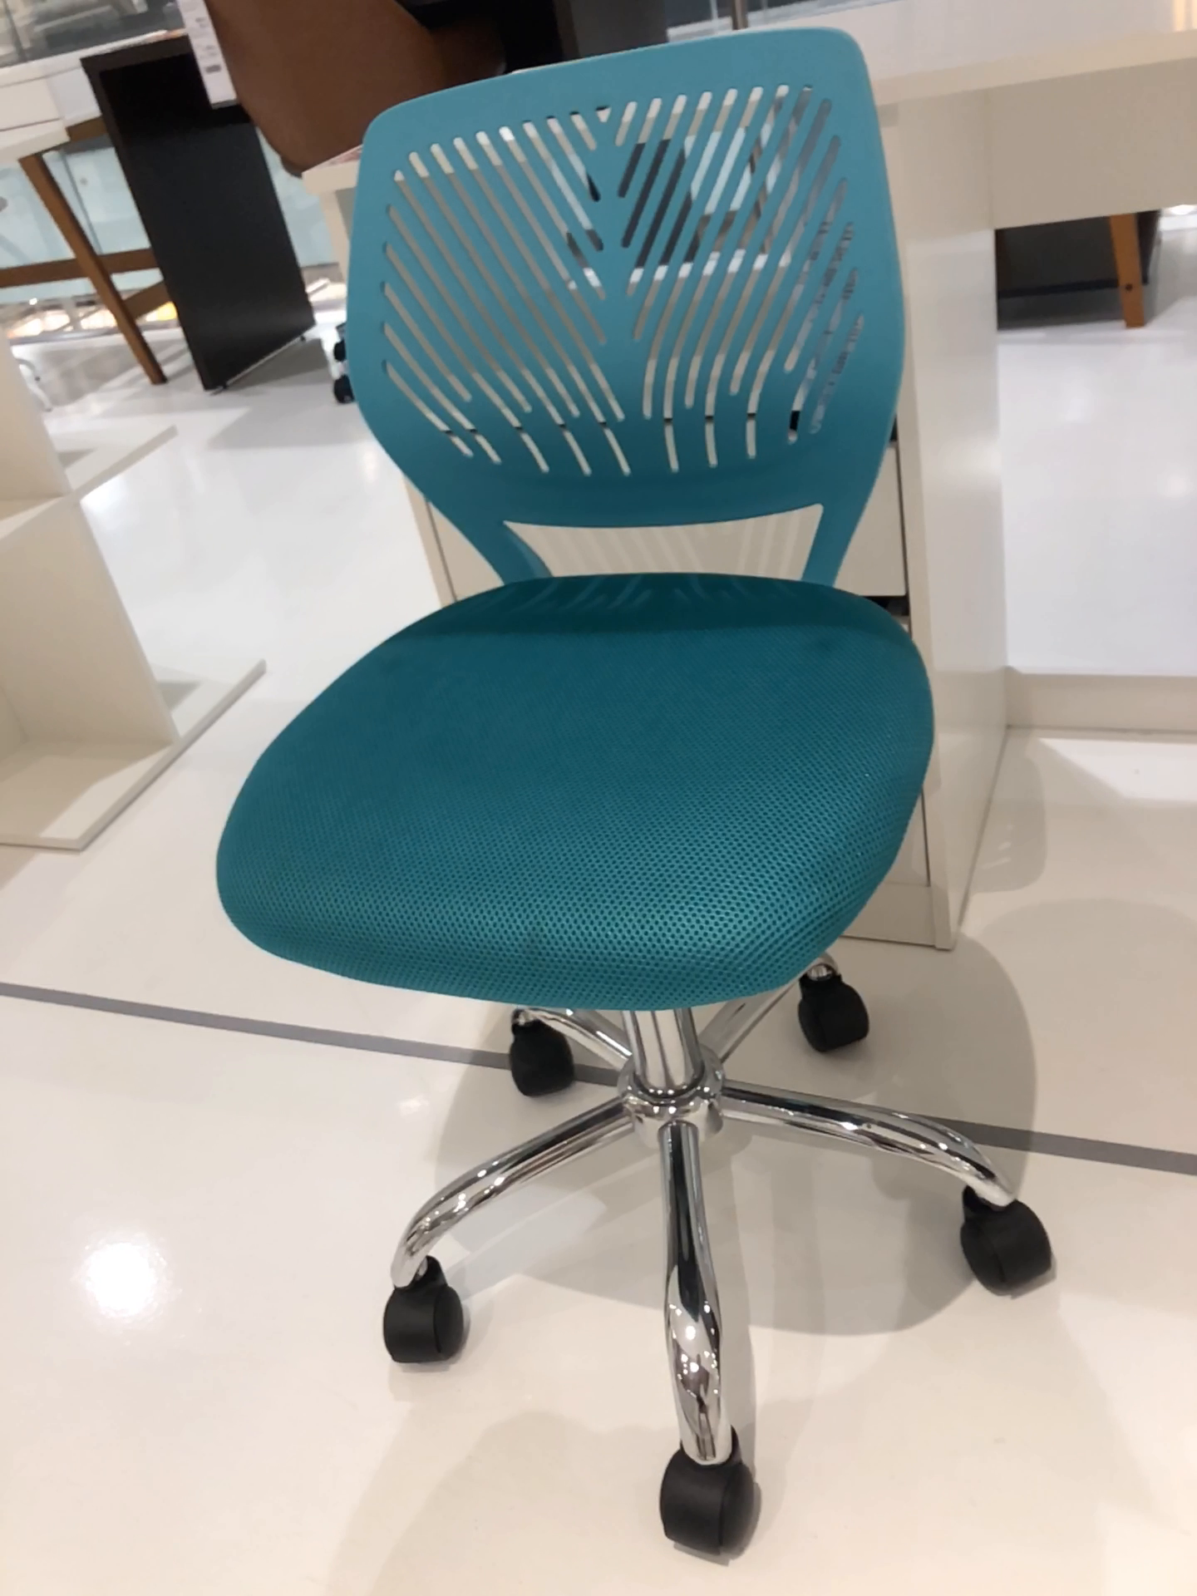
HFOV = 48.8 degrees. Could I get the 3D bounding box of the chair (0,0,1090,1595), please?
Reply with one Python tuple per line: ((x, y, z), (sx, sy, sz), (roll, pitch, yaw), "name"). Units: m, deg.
((0.011, -0.019, 0.771), (0.500, 0.724, 0.503), (1, 35, 22), "chair")
